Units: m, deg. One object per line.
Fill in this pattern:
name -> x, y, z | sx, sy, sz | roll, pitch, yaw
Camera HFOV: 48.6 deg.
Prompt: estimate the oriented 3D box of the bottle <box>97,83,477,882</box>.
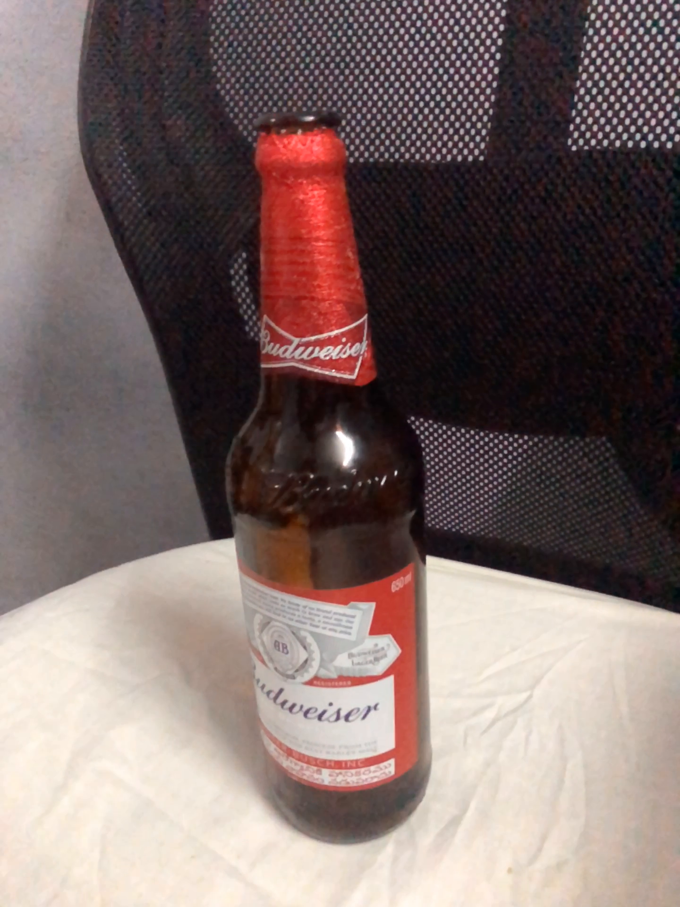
bottle -> -0.005, 0.021, 0.267 | 0.080, 0.269, 0.070 | 10, 30, 23
